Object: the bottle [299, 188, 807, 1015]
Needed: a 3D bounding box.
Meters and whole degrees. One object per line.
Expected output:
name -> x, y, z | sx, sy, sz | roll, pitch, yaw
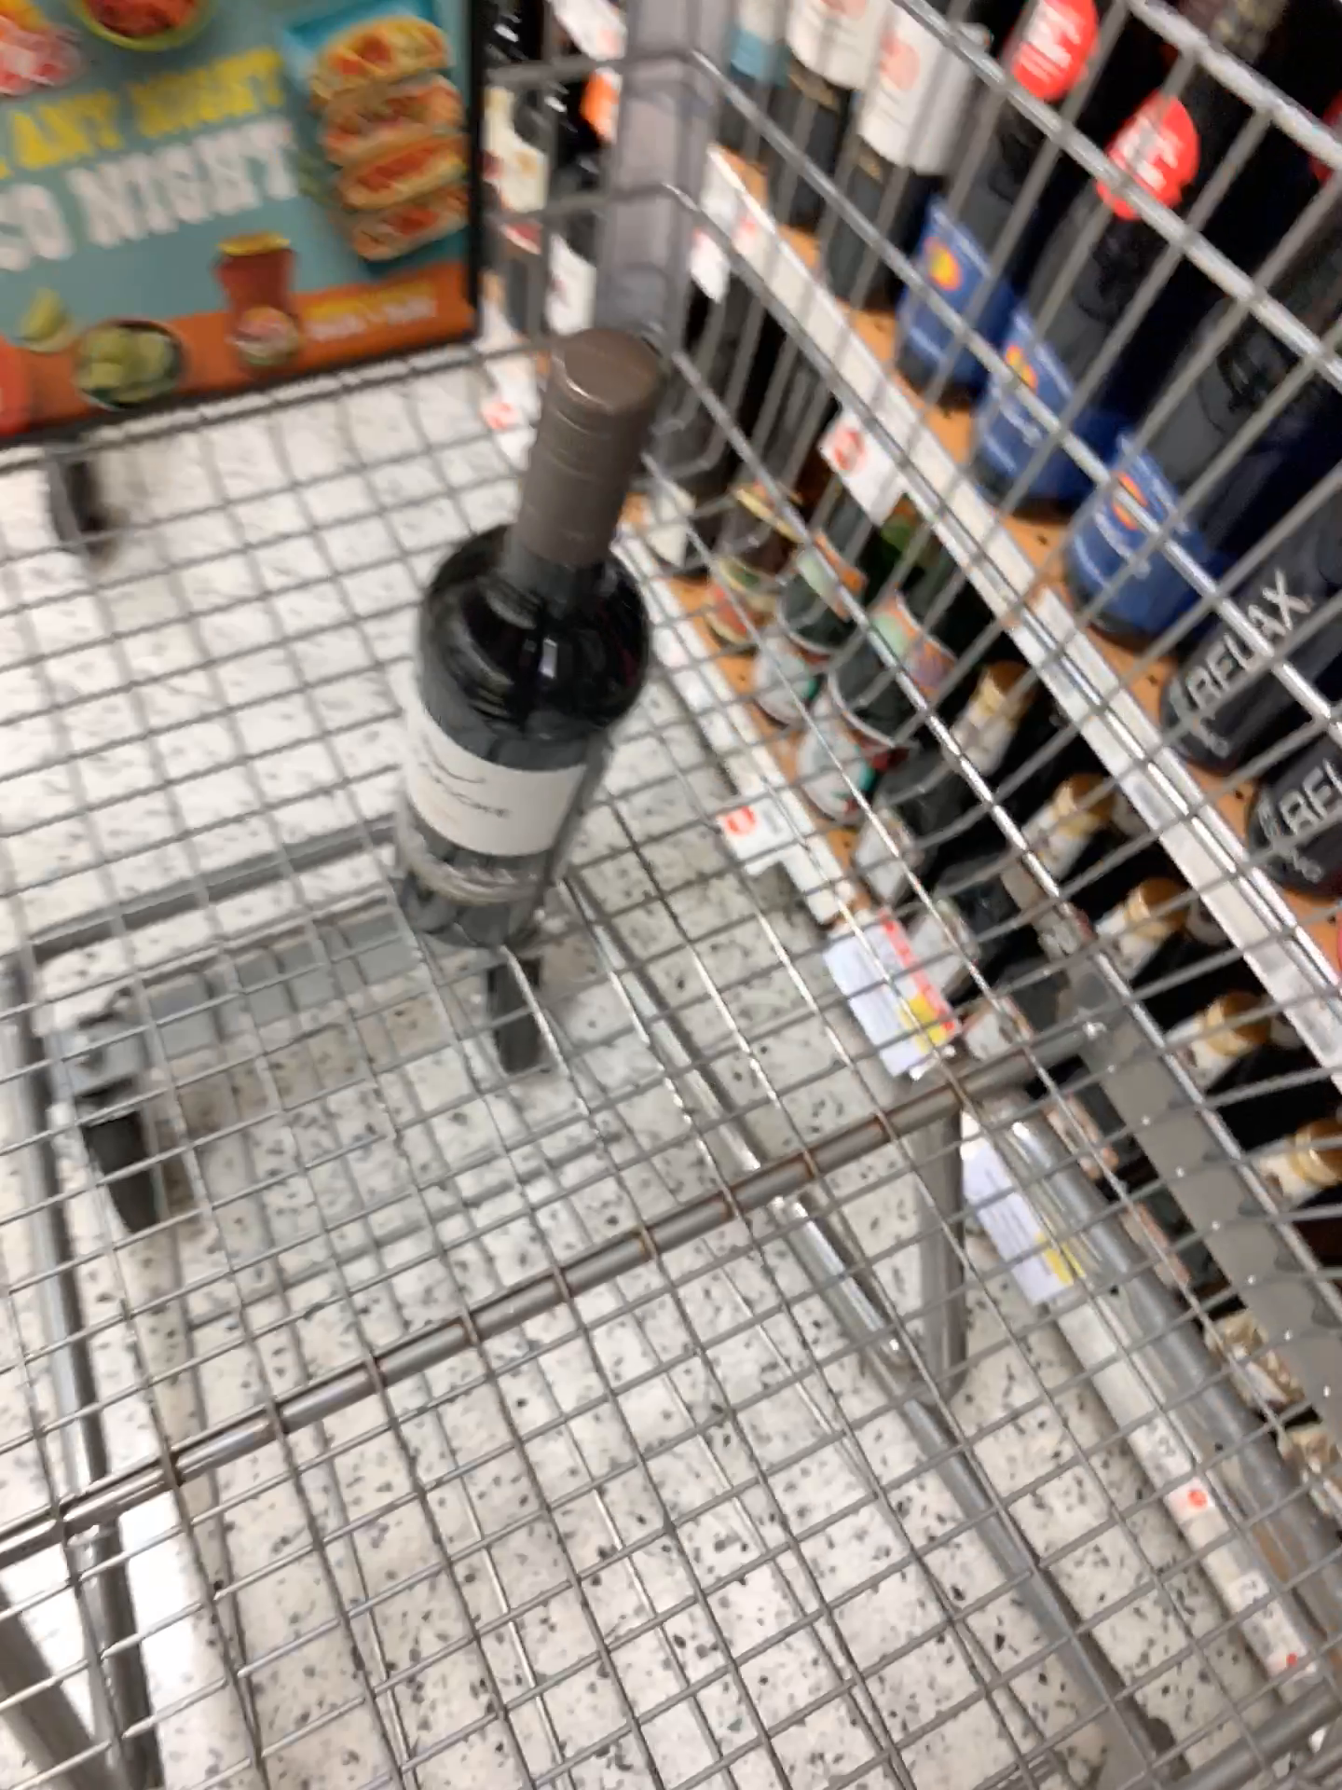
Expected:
bottle -> -0.057, -0.070, 0.476 | 0.090, 0.298, 0.090 | 5, 64, -10
